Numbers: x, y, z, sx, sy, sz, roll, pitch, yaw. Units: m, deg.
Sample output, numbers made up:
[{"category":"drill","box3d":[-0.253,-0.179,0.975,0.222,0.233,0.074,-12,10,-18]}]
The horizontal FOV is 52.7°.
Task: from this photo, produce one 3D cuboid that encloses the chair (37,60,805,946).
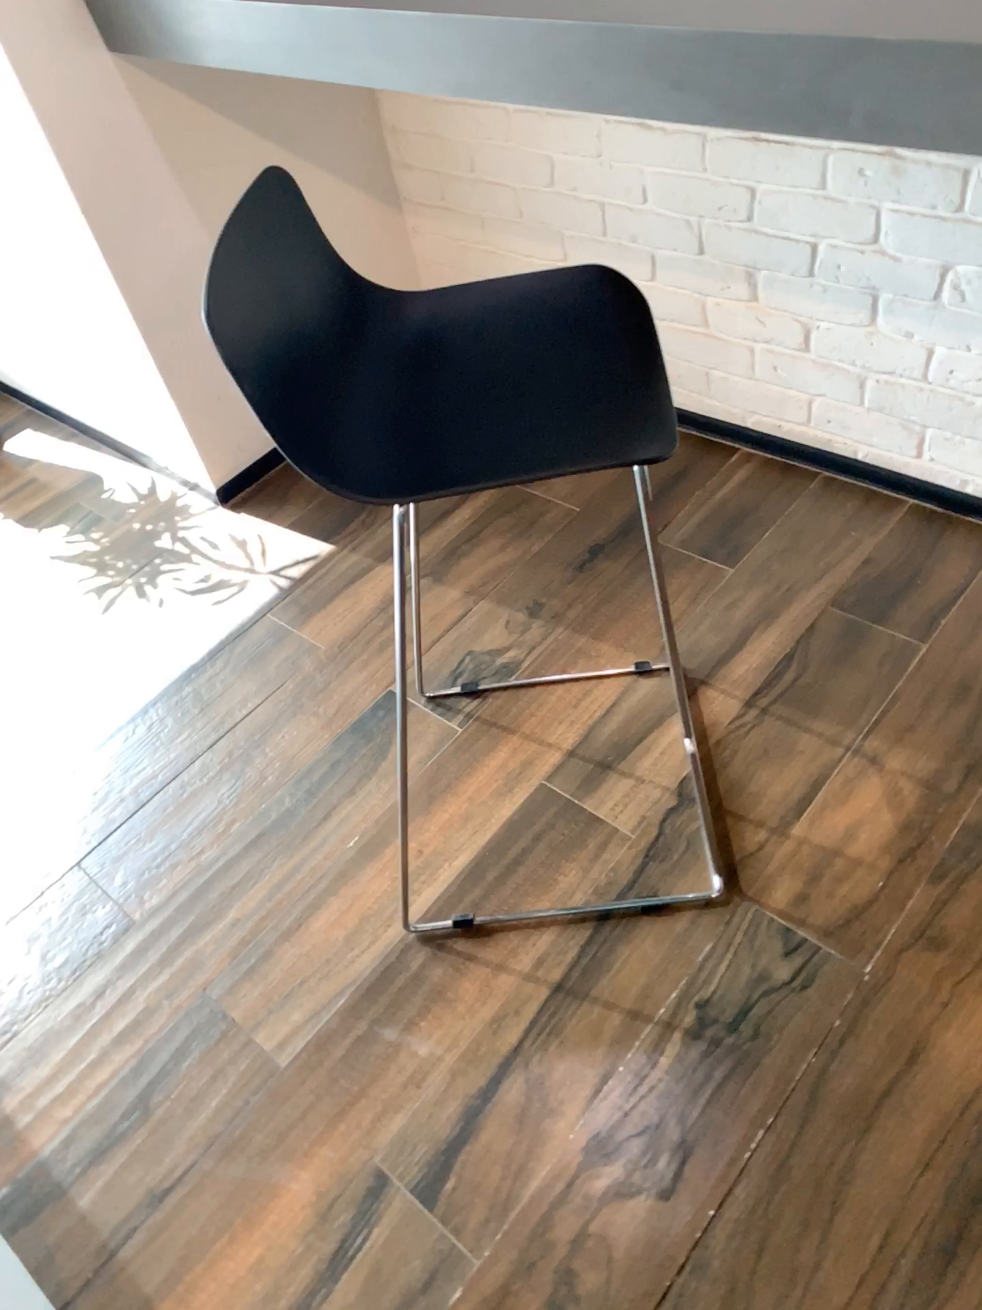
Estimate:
[{"category":"chair","box3d":[0.006,-0.121,1.240,0.590,0.863,0.545,-8,46,7]}]
